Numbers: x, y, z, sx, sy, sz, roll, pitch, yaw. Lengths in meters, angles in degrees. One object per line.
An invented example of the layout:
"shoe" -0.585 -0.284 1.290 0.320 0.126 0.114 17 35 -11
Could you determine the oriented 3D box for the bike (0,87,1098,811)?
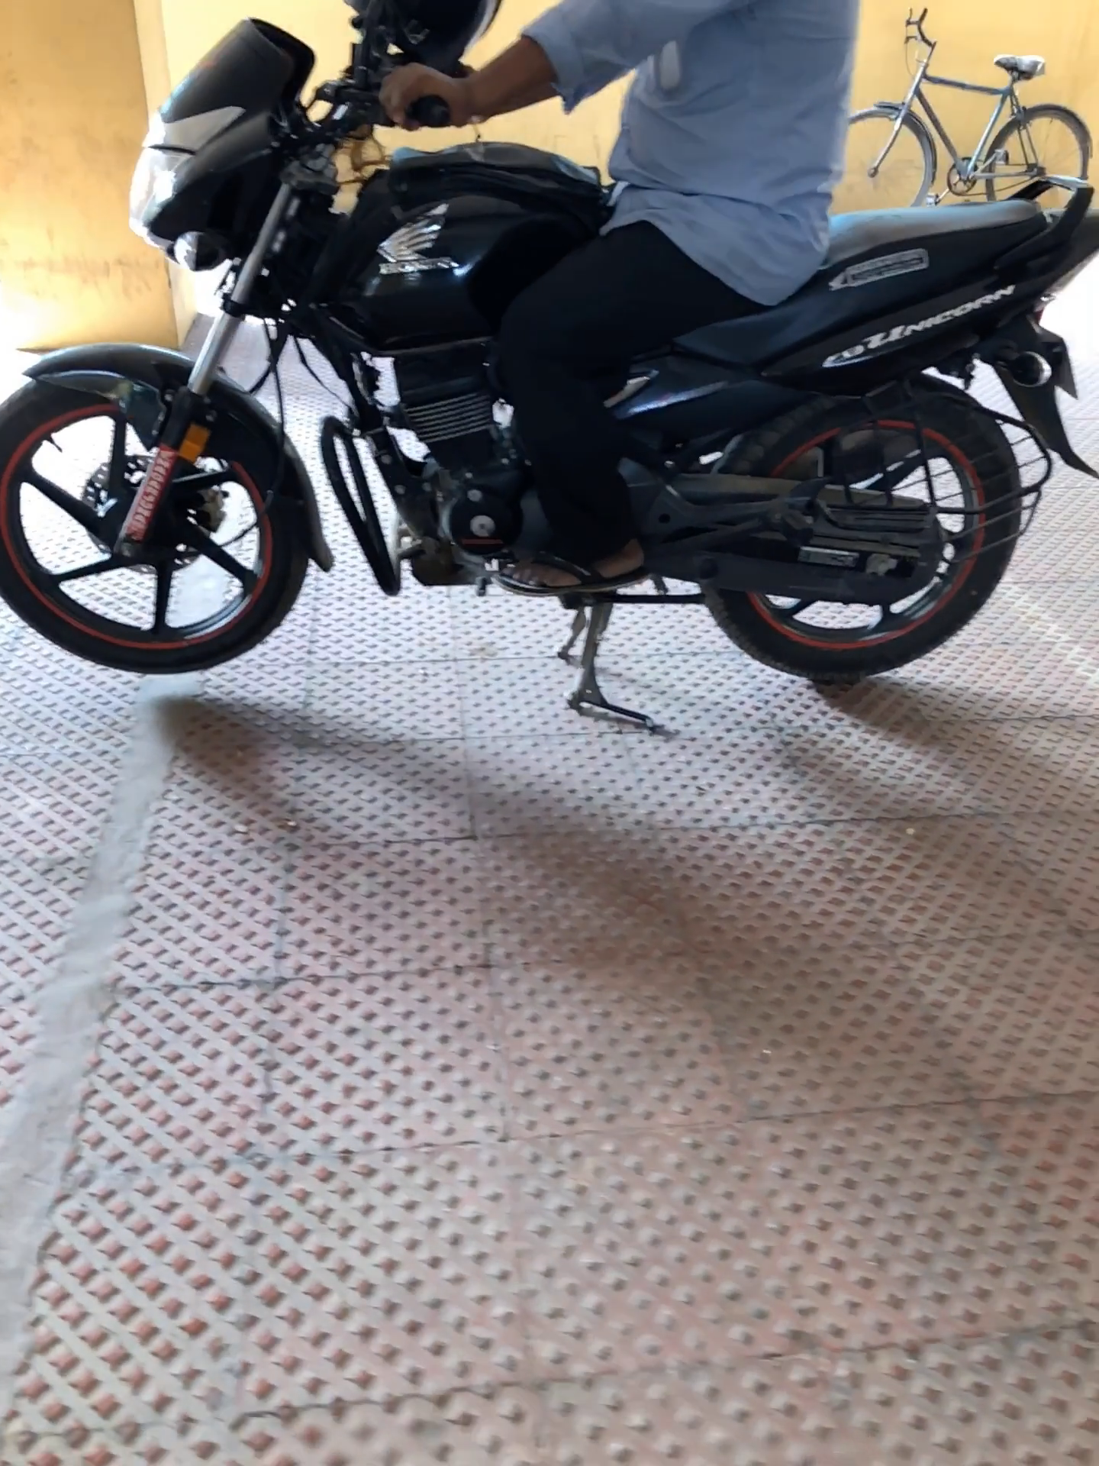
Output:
"bike" -0.053 -0.537 2.142 1.883 1.009 0.790 -2 32 -4
